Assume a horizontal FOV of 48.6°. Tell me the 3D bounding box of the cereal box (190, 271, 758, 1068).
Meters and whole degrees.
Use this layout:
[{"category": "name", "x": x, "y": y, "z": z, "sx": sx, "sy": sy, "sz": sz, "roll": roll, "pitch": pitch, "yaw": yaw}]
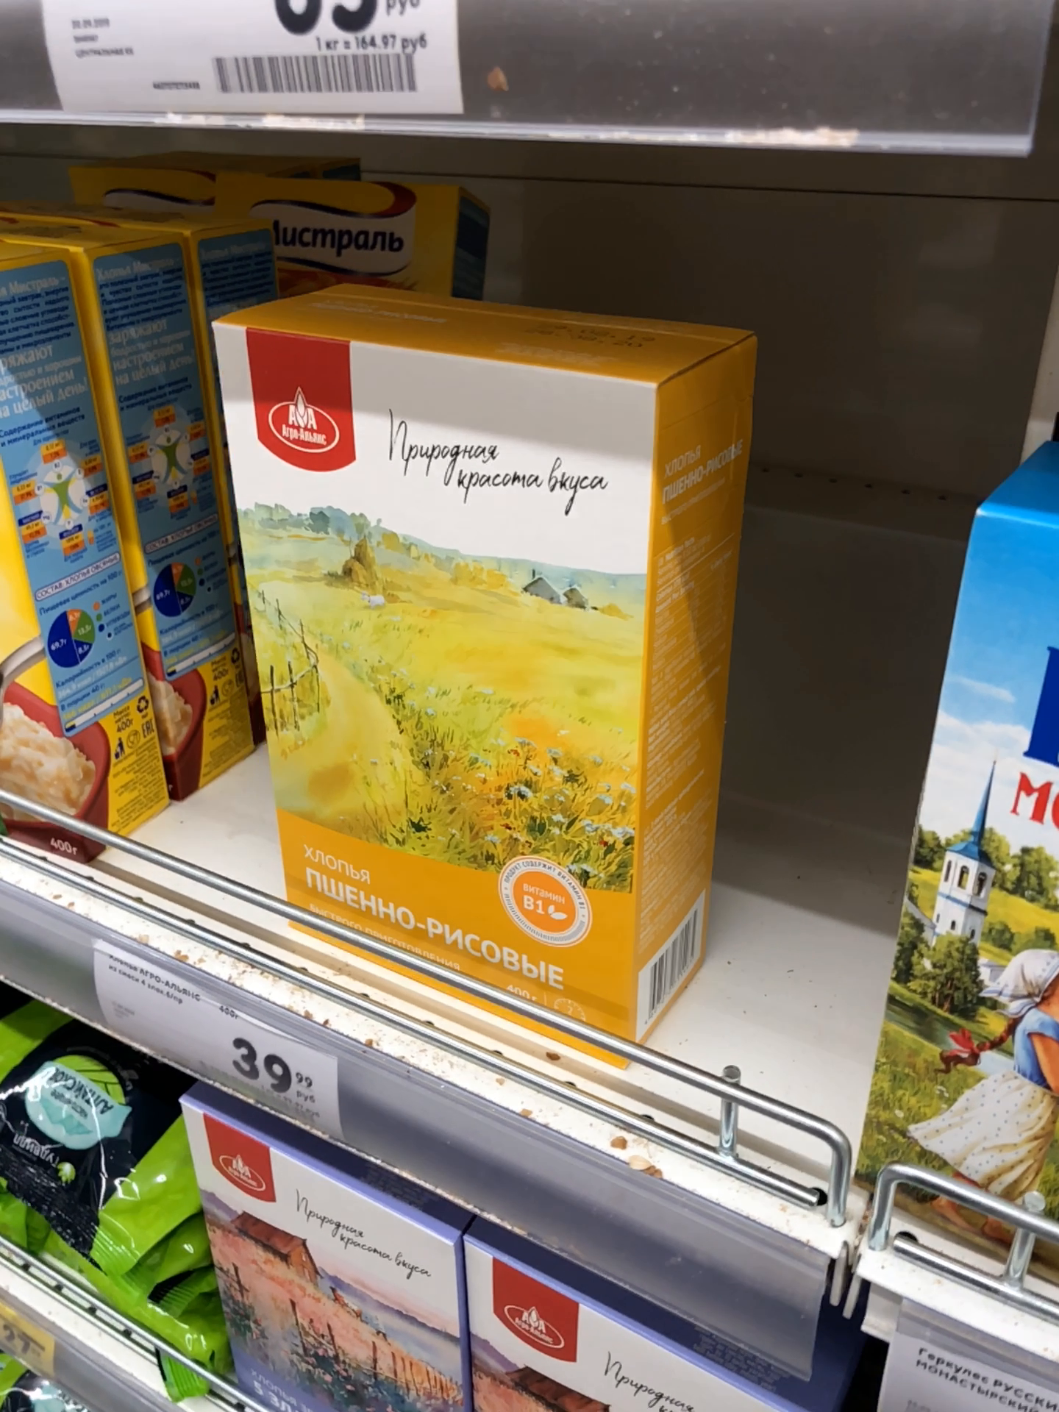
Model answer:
[{"category": "cereal box", "x": -0.014, "y": -0.012, "z": 0.340, "sx": 0.130, "sy": 0.199, "sz": 0.060, "roll": 15, "pitch": 32, "yaw": 27}]
